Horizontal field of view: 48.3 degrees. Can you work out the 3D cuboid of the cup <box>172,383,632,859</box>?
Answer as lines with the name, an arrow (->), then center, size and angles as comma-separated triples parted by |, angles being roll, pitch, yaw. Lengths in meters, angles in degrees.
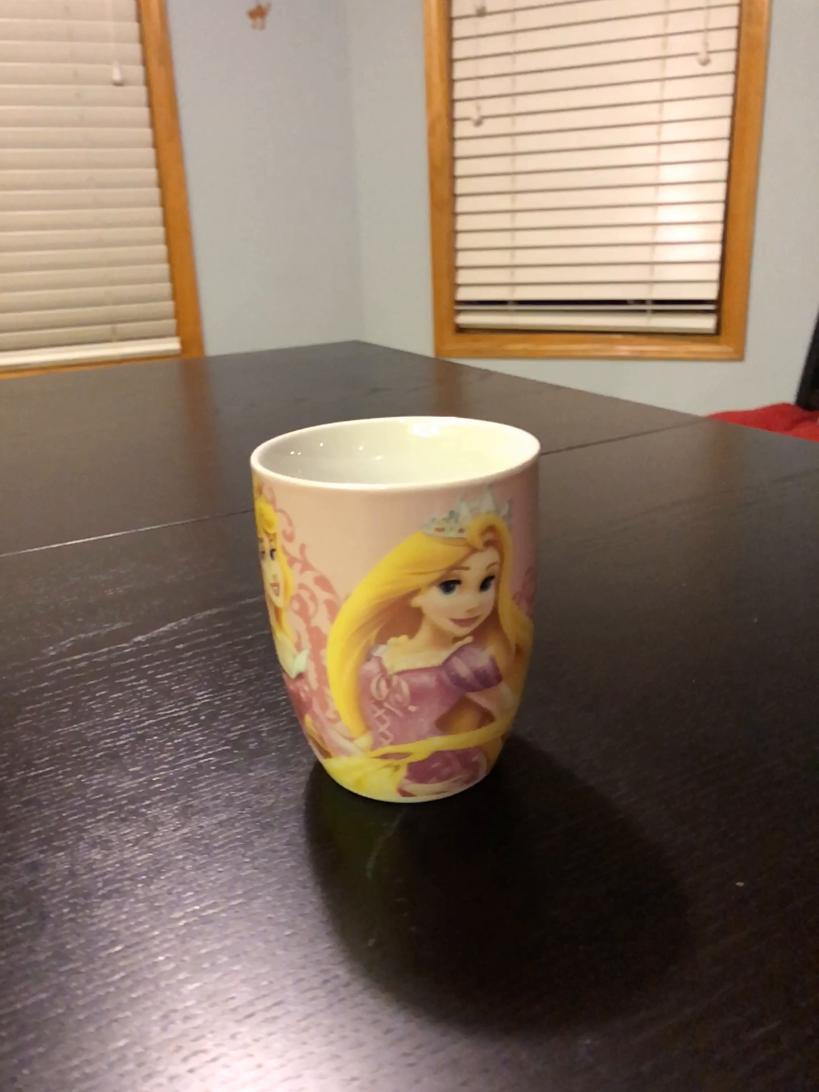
cup -> -0.007, 0.010, 0.295 | 0.090, 0.100, 0.120 | -14, 22, -30
